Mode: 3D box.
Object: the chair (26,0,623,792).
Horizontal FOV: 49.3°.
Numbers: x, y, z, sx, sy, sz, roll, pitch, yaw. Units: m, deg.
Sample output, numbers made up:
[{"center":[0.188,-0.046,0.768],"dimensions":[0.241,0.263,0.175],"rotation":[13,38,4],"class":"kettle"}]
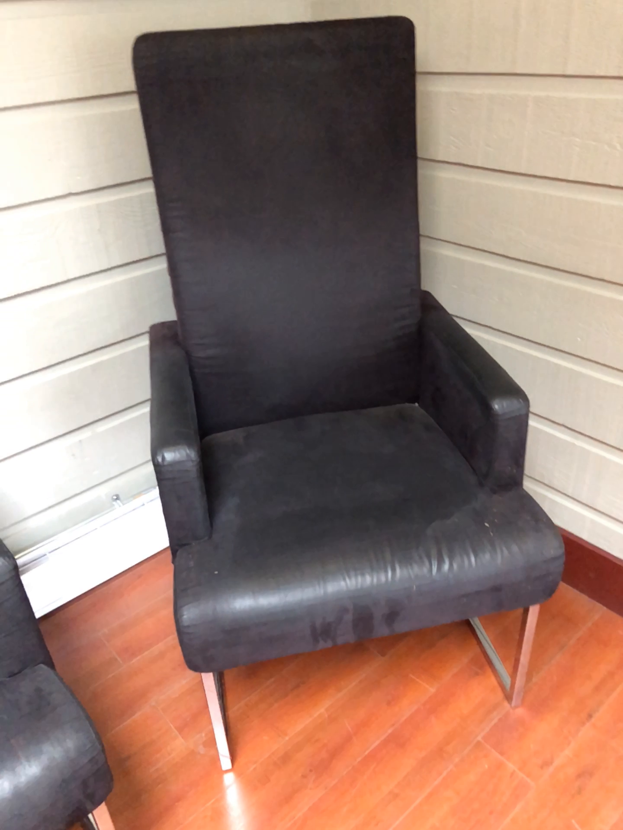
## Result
[{"center":[0.030,-0.072,1.183],"dimensions":[0.630,1.082,0.705],"rotation":[-9,31,-9],"class":"chair"}]
